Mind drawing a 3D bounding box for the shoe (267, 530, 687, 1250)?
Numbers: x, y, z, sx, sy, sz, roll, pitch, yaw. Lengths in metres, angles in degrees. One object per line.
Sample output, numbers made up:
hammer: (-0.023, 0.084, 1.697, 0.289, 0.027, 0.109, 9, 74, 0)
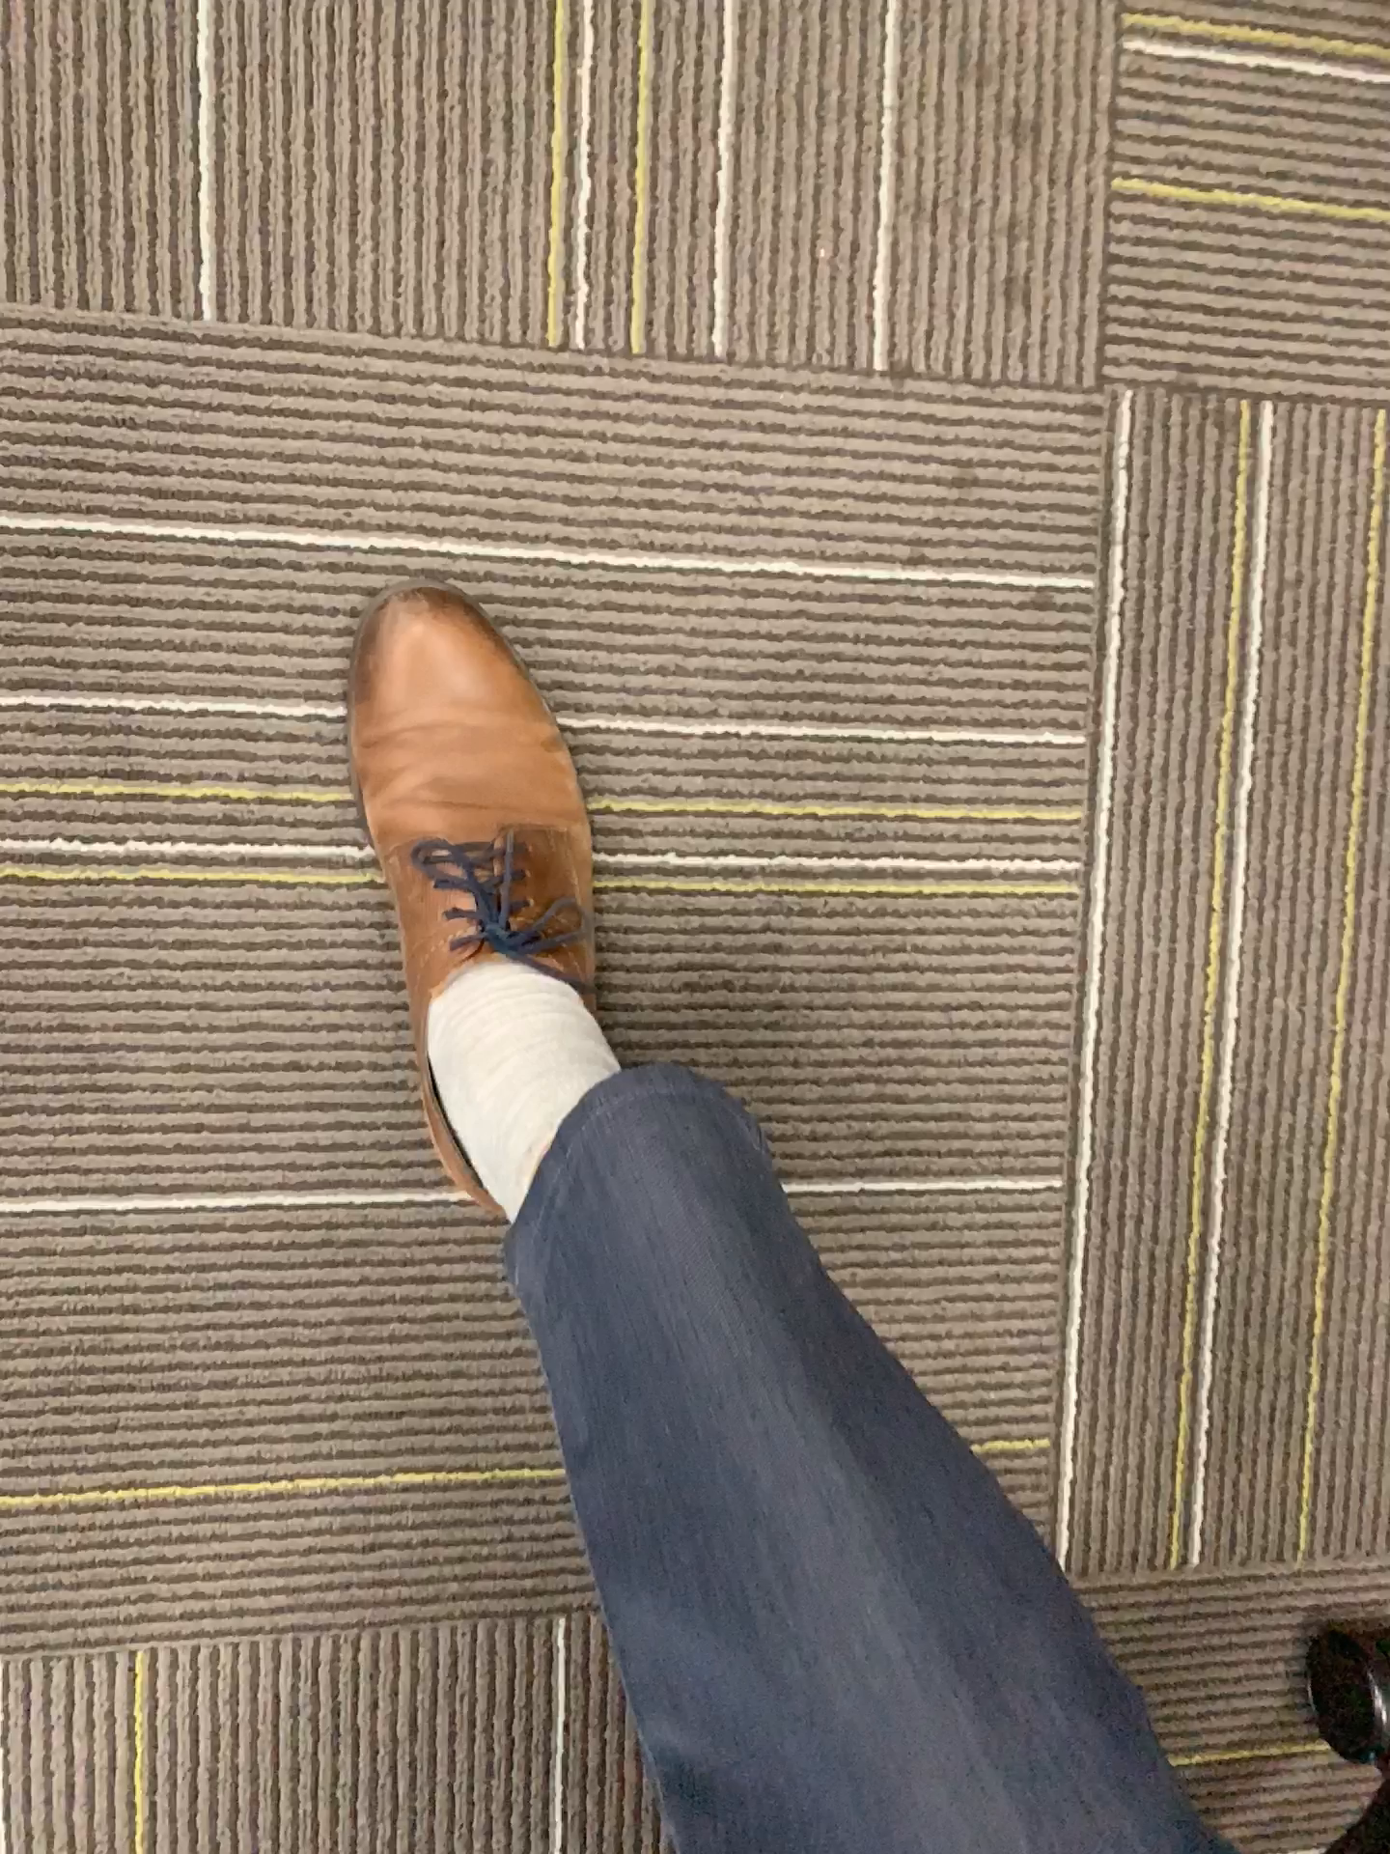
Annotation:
shoe: (-0.091, -0.016, 0.612, 0.112, 0.068, 0.276, -13, 98, -8)

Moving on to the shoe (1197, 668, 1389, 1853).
shoe: (0.222, 0.107, 0.313, 0.082, 0.114, 0.293, -18, 93, -37)
